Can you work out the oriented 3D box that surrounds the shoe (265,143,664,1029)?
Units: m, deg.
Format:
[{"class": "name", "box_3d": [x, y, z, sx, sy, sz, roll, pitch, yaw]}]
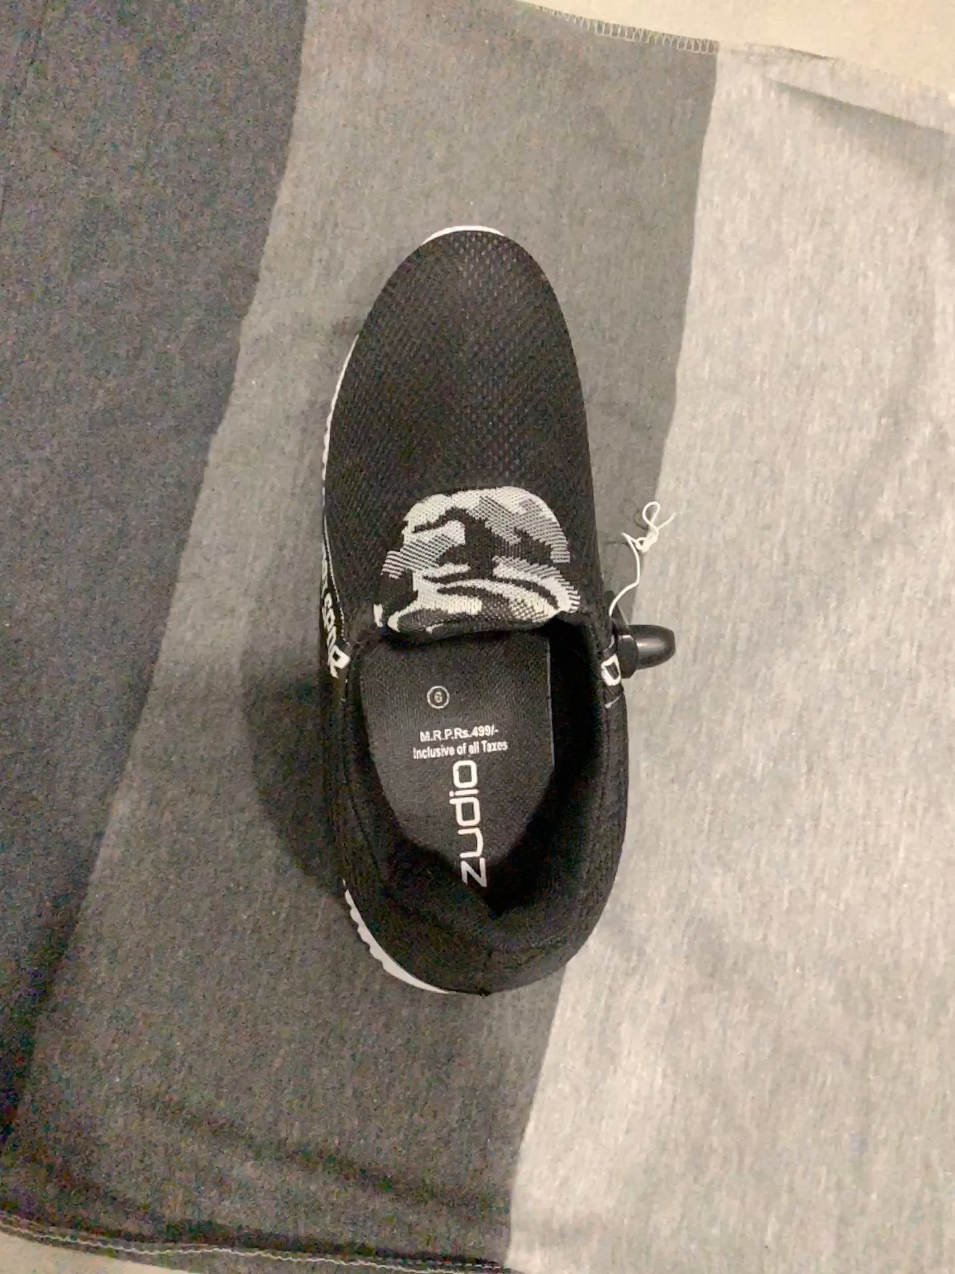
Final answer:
[{"class": "shoe", "box_3d": [-0.008, -0.014, 0.314, 0.100, 0.100, 0.240, 0, 81, -4]}]
